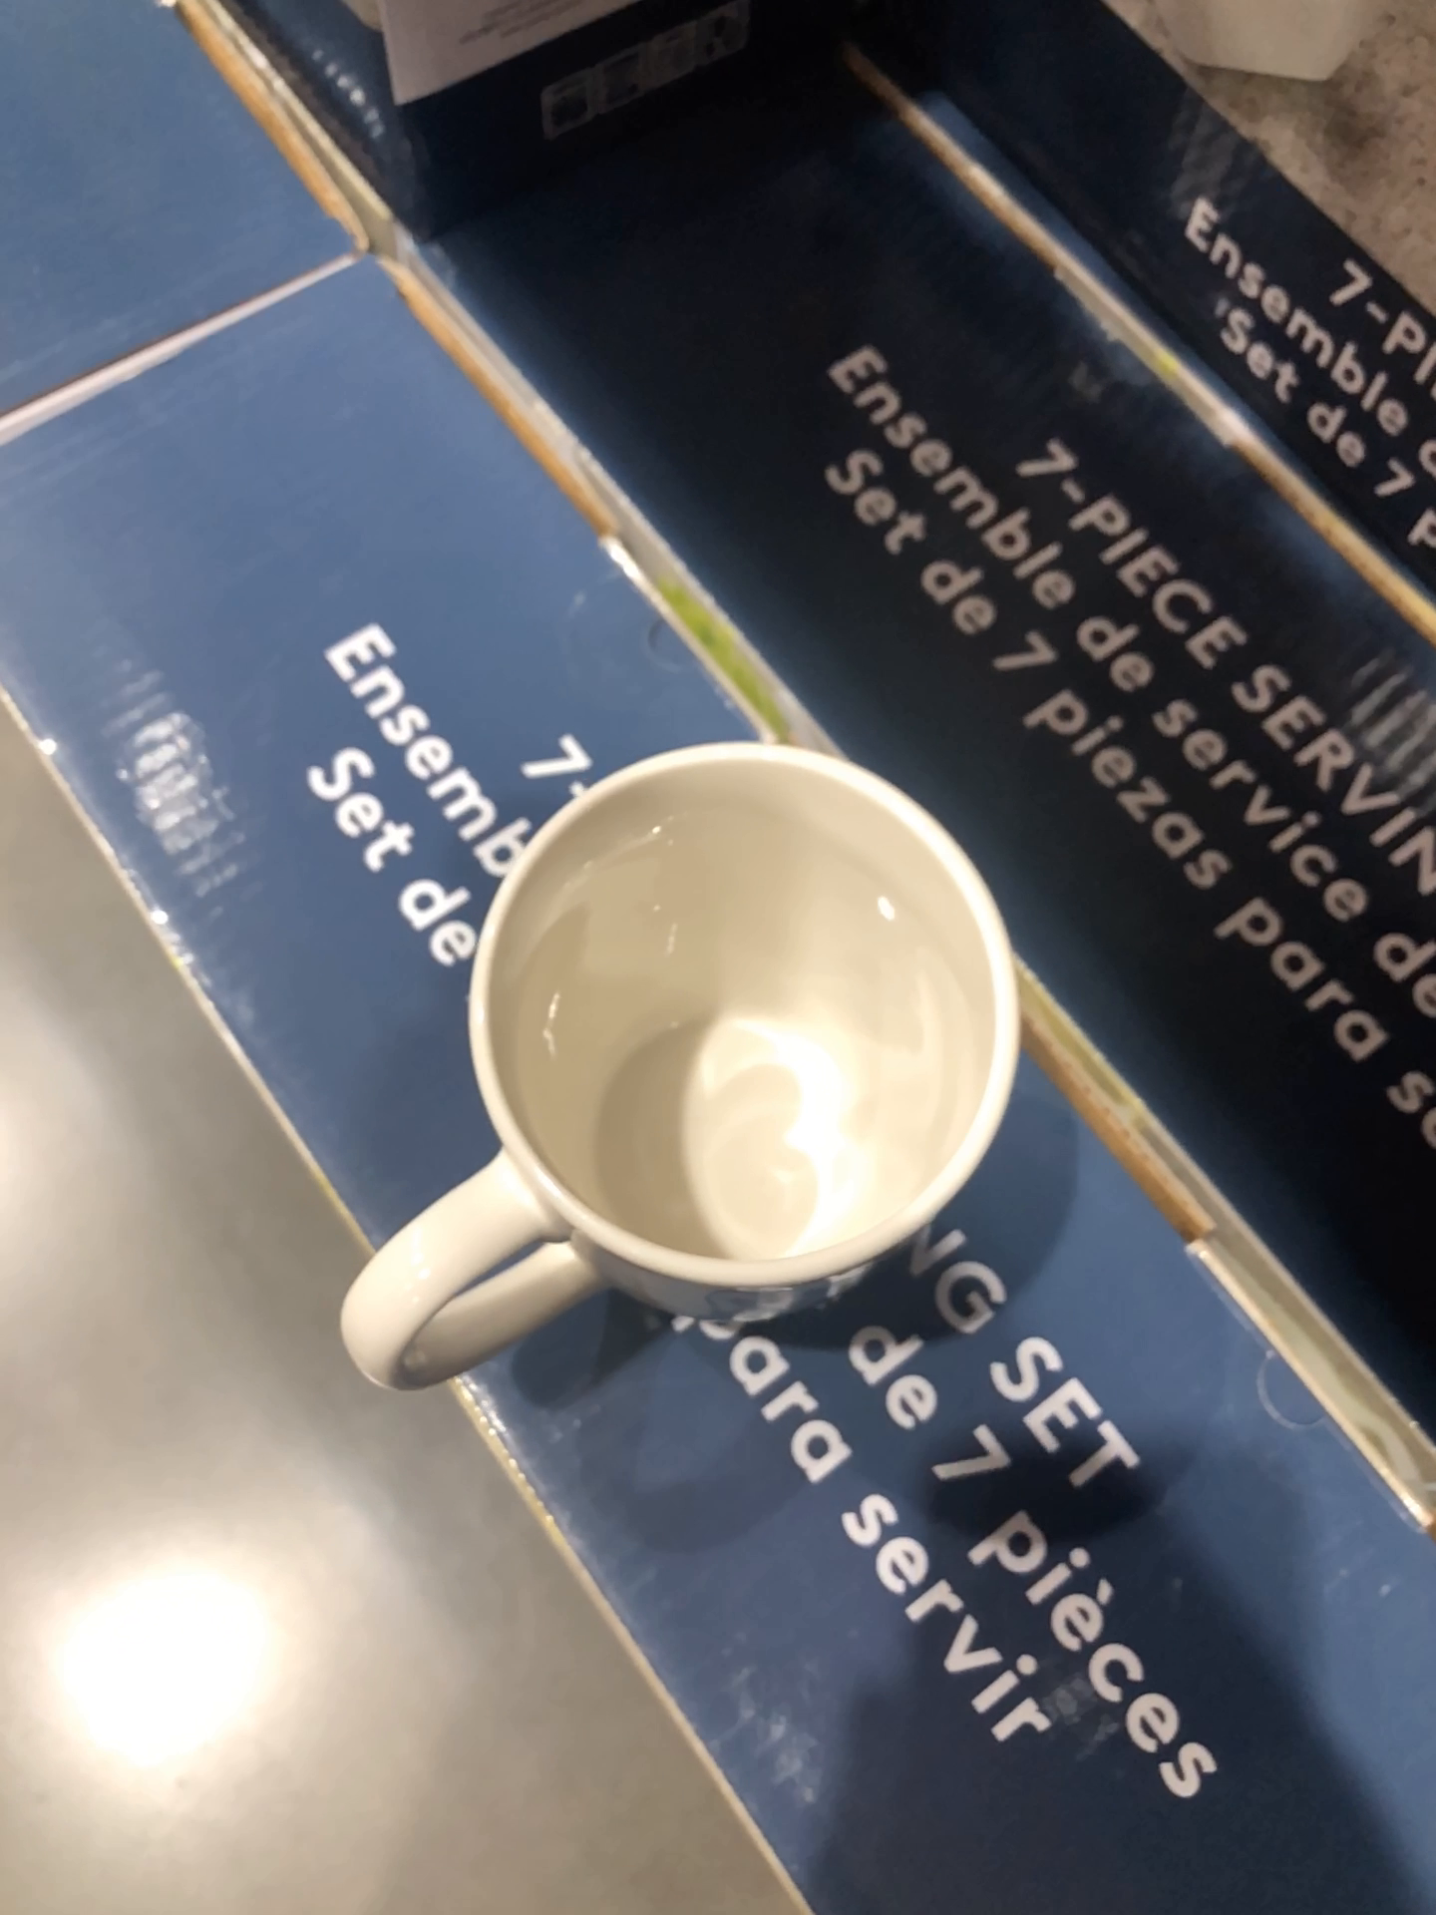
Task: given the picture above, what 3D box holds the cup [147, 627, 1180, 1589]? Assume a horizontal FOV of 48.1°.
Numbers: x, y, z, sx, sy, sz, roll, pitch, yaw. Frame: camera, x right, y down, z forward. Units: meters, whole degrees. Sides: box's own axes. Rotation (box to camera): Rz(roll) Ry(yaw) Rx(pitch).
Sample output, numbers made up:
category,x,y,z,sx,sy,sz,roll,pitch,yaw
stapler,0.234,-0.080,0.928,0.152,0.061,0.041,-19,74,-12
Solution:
category,x,y,z,sx,sy,sz,roll,pitch,yaw
cup,-0.009,0.033,0.294,0.128,0.102,0.093,-36,74,-15
